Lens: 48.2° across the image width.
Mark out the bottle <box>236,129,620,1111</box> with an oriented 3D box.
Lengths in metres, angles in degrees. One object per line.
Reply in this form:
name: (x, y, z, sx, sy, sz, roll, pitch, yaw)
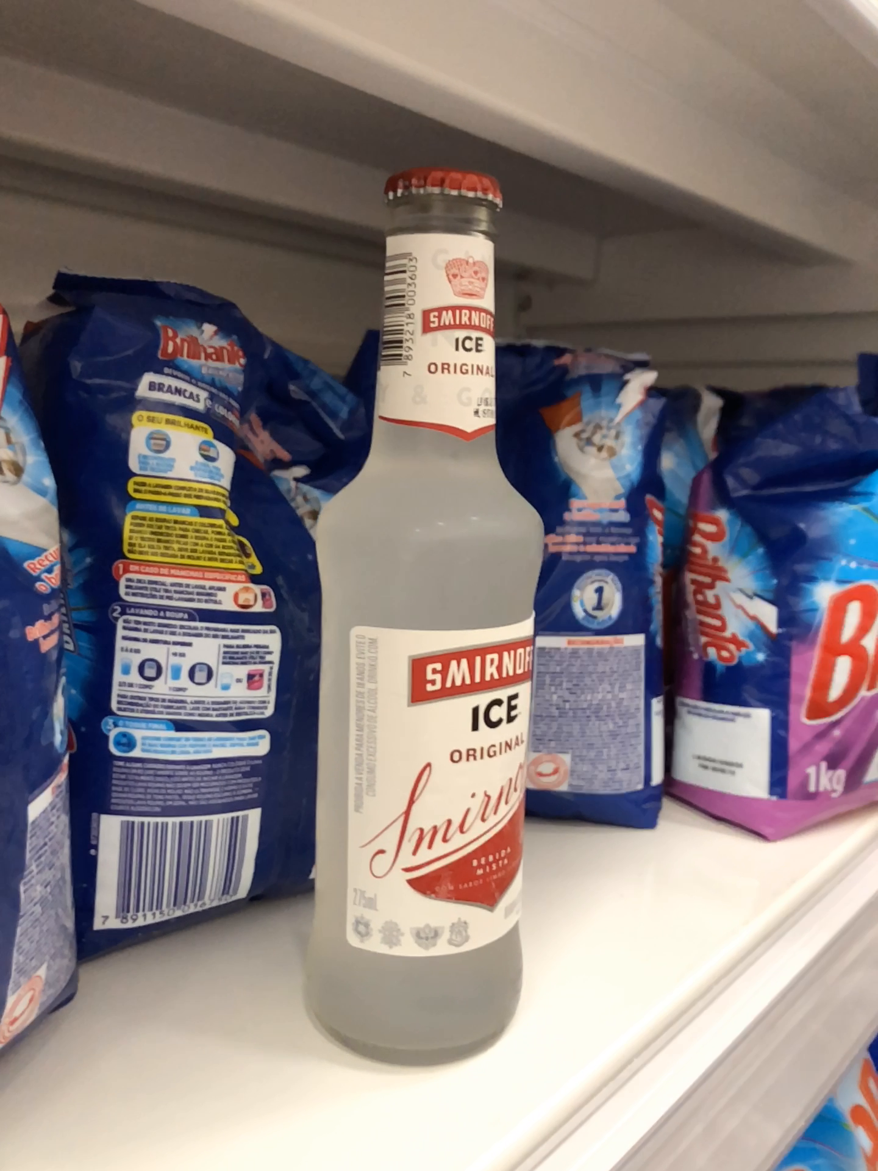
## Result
bottle: (-0.006, 0.008, 0.251, 0.070, 0.209, 0.060, -5, 11, -40)
